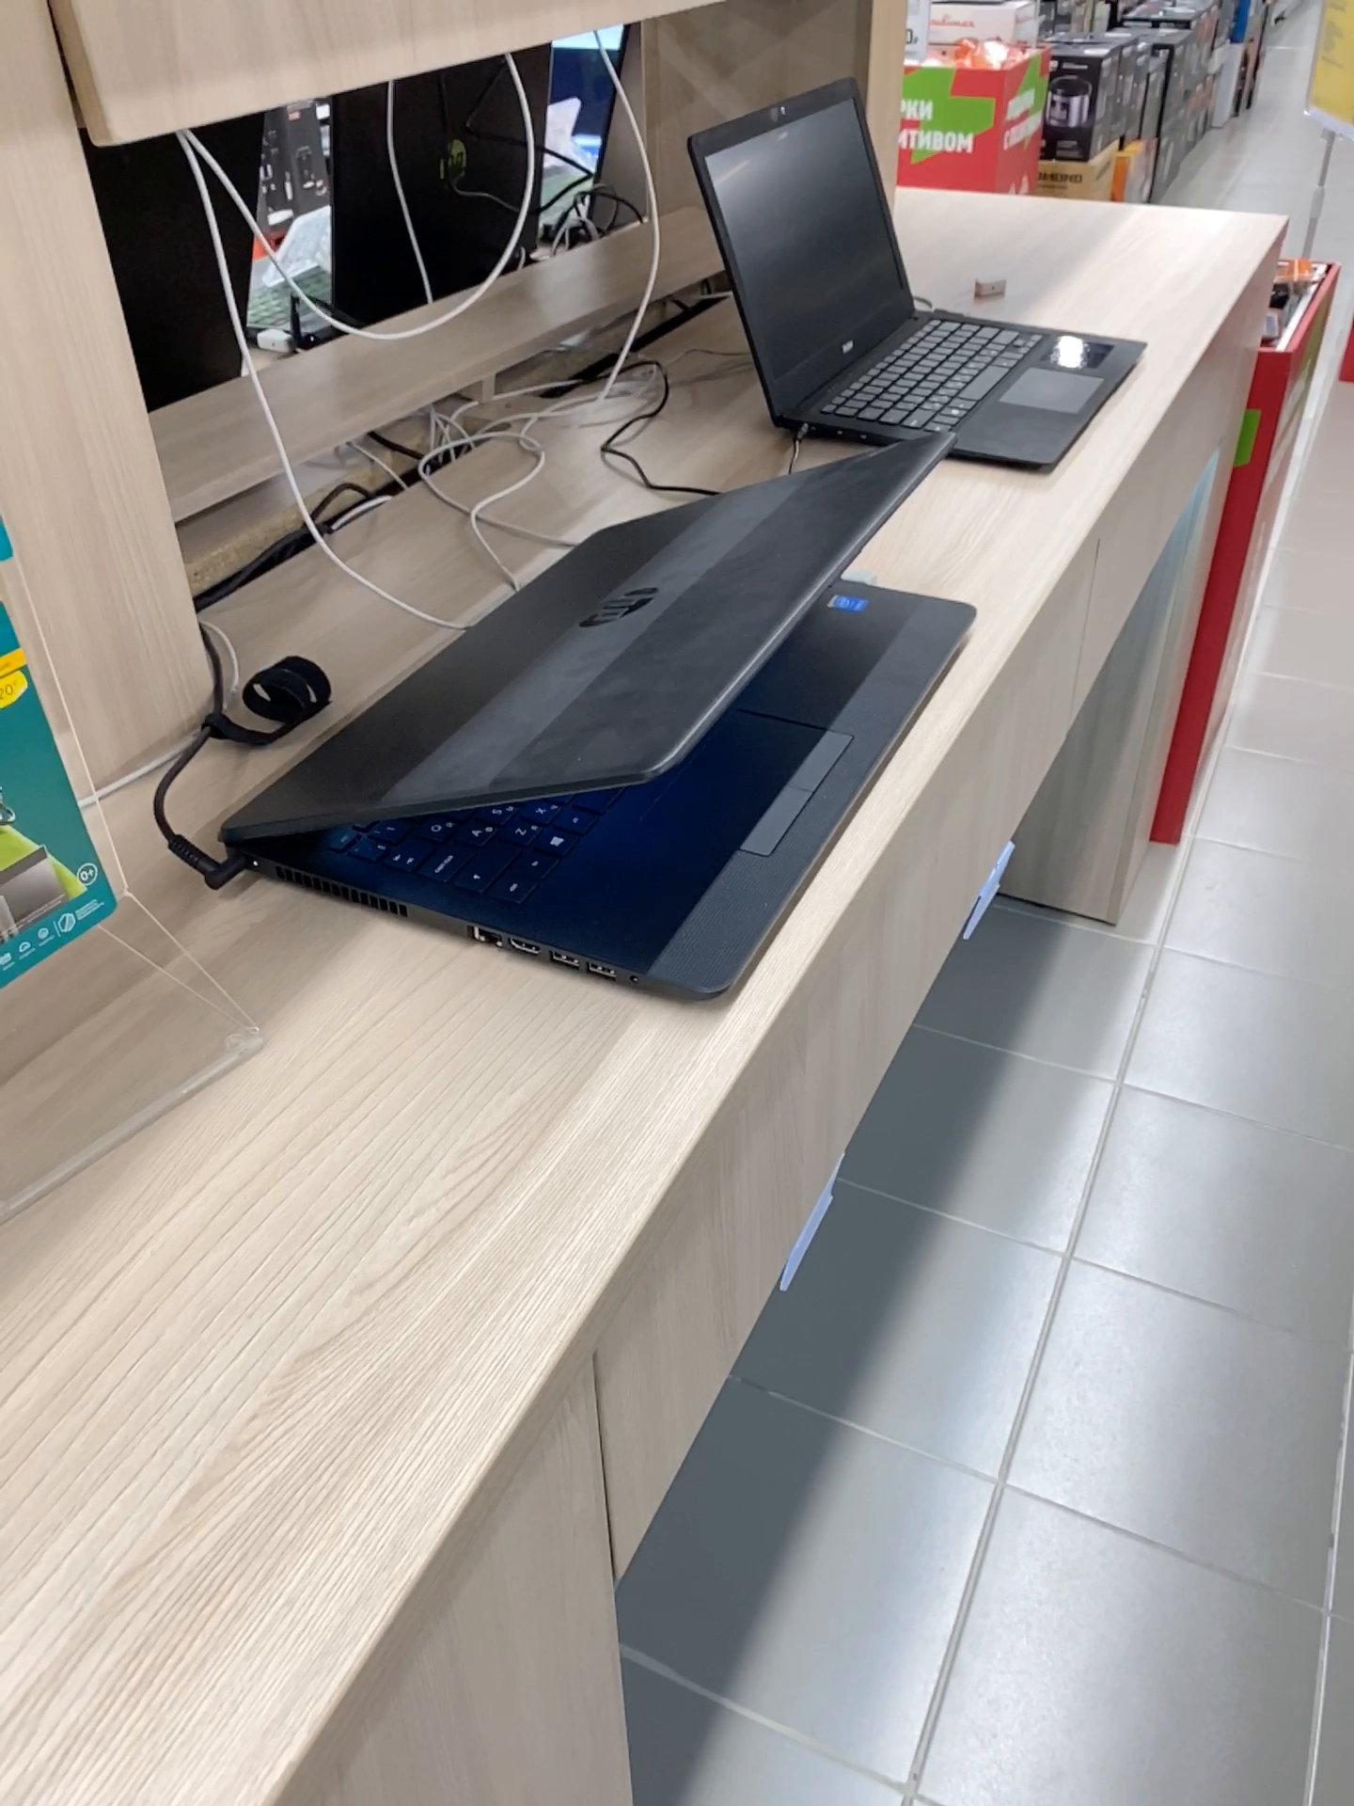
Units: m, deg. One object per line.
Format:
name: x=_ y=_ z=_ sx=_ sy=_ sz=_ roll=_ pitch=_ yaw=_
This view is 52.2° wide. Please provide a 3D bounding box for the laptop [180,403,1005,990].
laptop: x=-0.013 y=-0.136 z=0.693 sx=0.251 sy=0.093 sz=0.374 roll=15 pitch=39 yaw=20
